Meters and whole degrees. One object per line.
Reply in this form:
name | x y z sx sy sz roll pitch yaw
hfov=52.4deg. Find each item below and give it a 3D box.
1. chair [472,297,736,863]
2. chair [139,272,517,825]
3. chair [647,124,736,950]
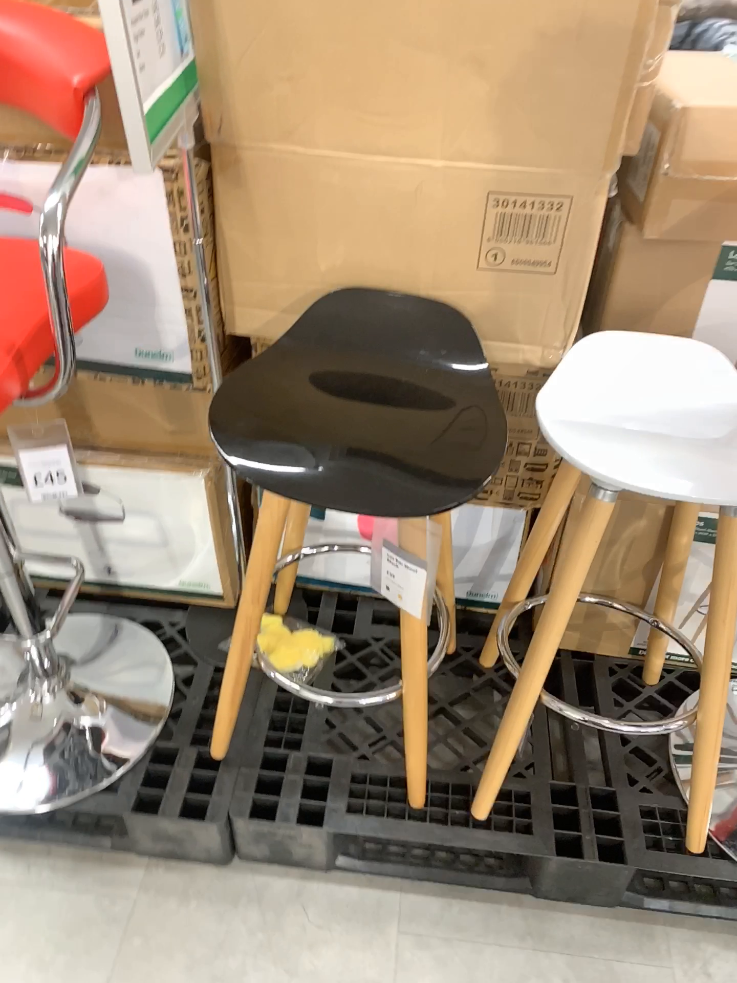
chair | 0.395 0.150 1.133 0.384 0.721 0.420 6 38 5
chair | -0.031 0.103 1.175 0.384 0.721 0.400 10 39 10
chair | 0.779 0.112 1.001 0.474 0.978 0.481 6 38 5
